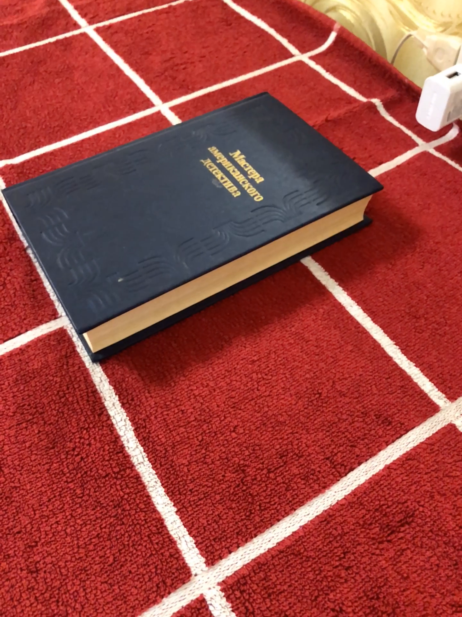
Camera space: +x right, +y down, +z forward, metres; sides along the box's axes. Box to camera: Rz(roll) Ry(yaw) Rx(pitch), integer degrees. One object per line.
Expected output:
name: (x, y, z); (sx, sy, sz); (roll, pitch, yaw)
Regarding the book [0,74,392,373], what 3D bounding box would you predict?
book: (-0.027, -0.067, 0.314); (0.193, 0.030, 0.143); (-28, 57, -18)
